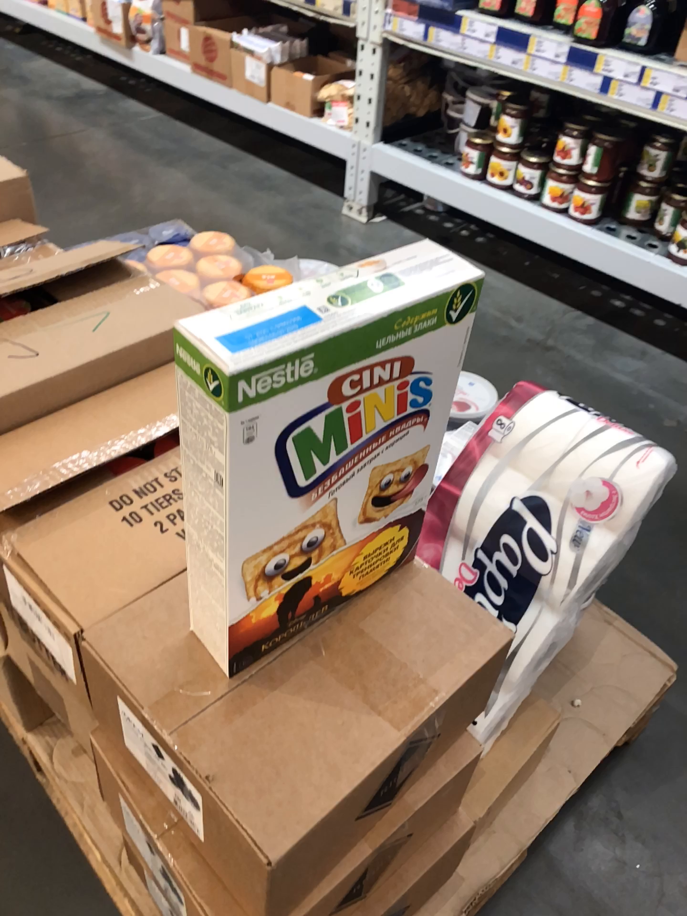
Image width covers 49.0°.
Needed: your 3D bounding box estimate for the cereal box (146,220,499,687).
[{"bbox_3d":[-0.015,0.005,0.510,0.201,0.278,0.060,-26,51,-31],"label":"cereal box"}]
